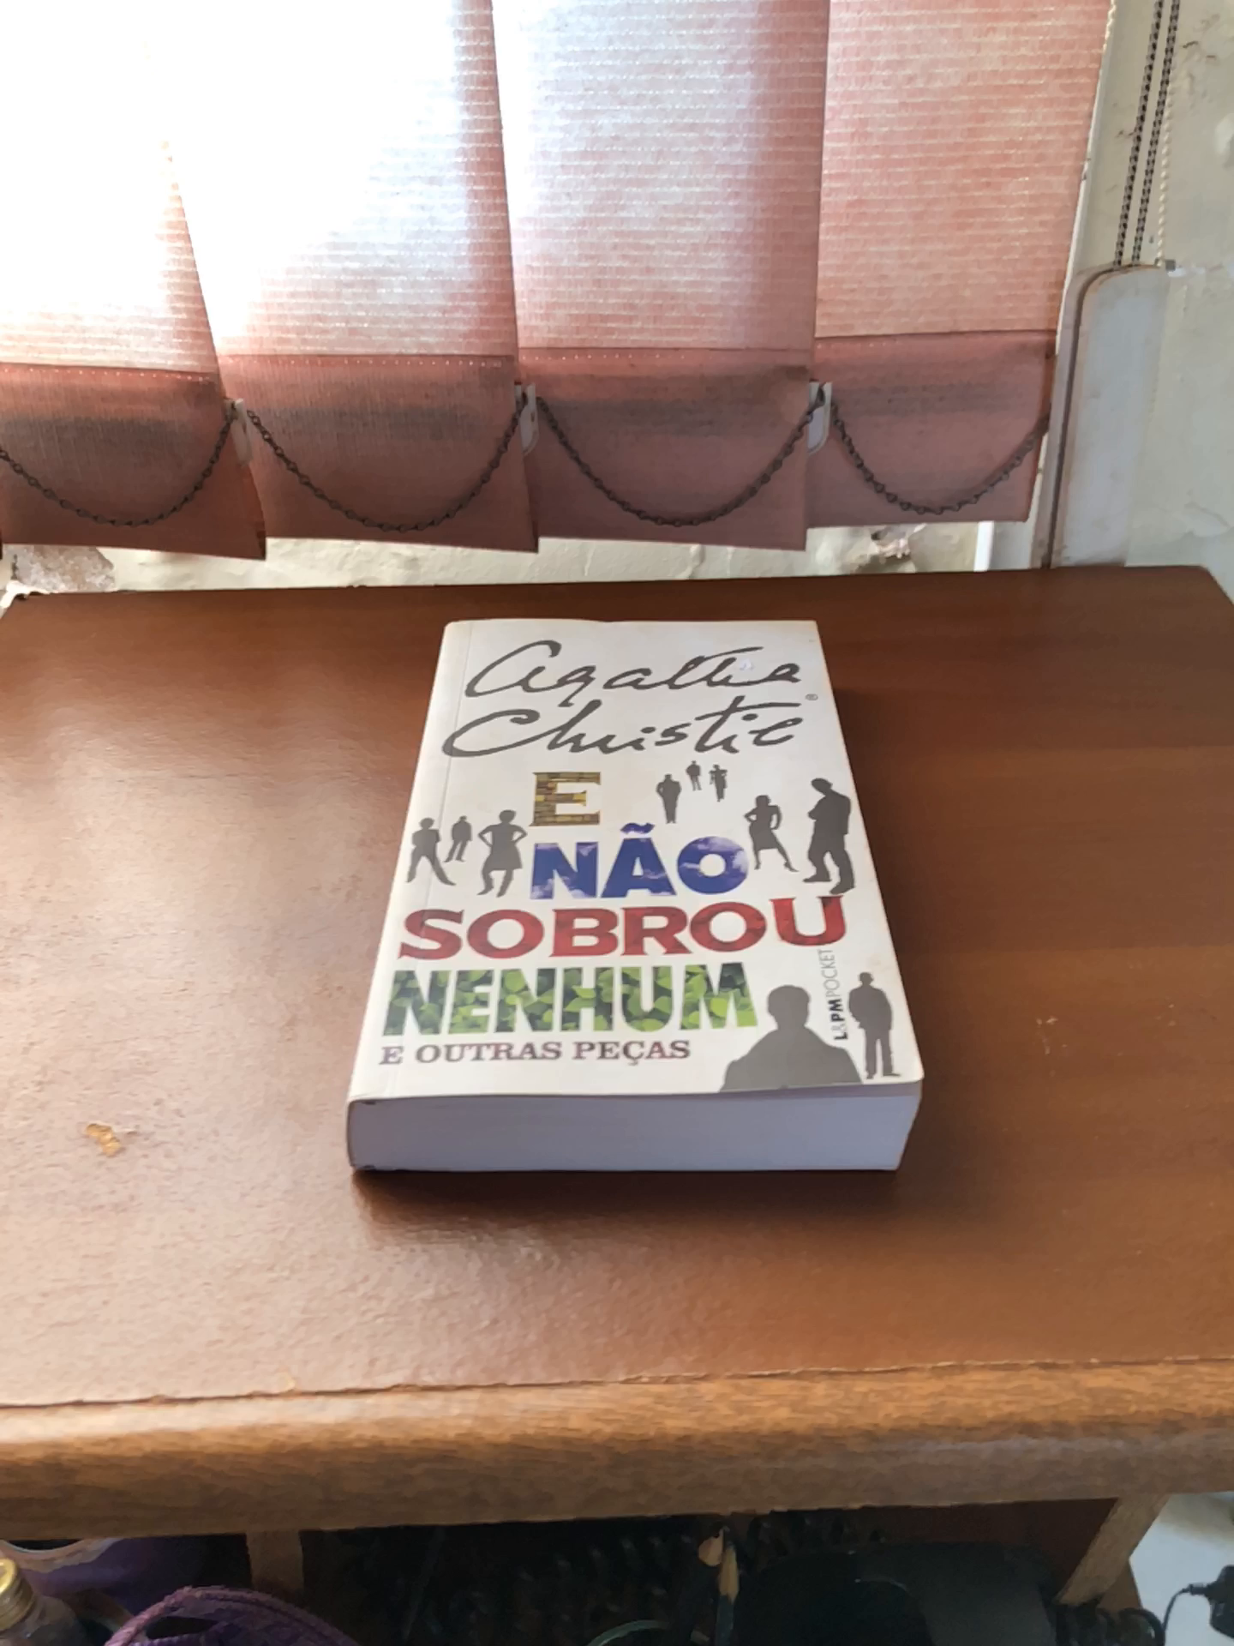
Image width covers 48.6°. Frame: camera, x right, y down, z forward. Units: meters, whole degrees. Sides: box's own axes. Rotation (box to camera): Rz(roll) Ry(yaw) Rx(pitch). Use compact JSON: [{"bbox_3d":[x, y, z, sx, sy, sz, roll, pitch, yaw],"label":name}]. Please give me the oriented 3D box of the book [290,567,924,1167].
[{"bbox_3d":[0.000,-0.004,0.318,0.110,0.024,0.187,-1,38,2],"label":"book"}]
